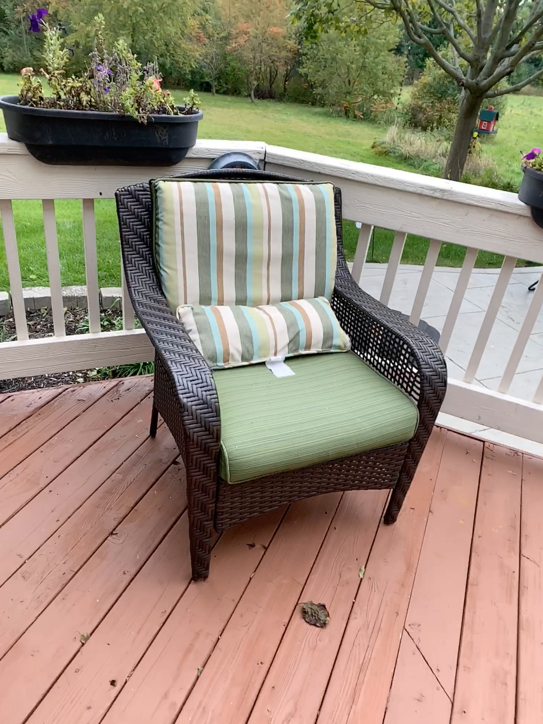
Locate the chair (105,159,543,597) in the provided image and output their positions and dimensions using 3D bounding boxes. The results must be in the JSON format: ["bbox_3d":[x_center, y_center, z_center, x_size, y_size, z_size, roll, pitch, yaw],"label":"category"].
[{"bbox_3d":[0.027,-0.062,1.611,0.812,0.824,0.862,-8,33,-24],"label":"chair"}]
